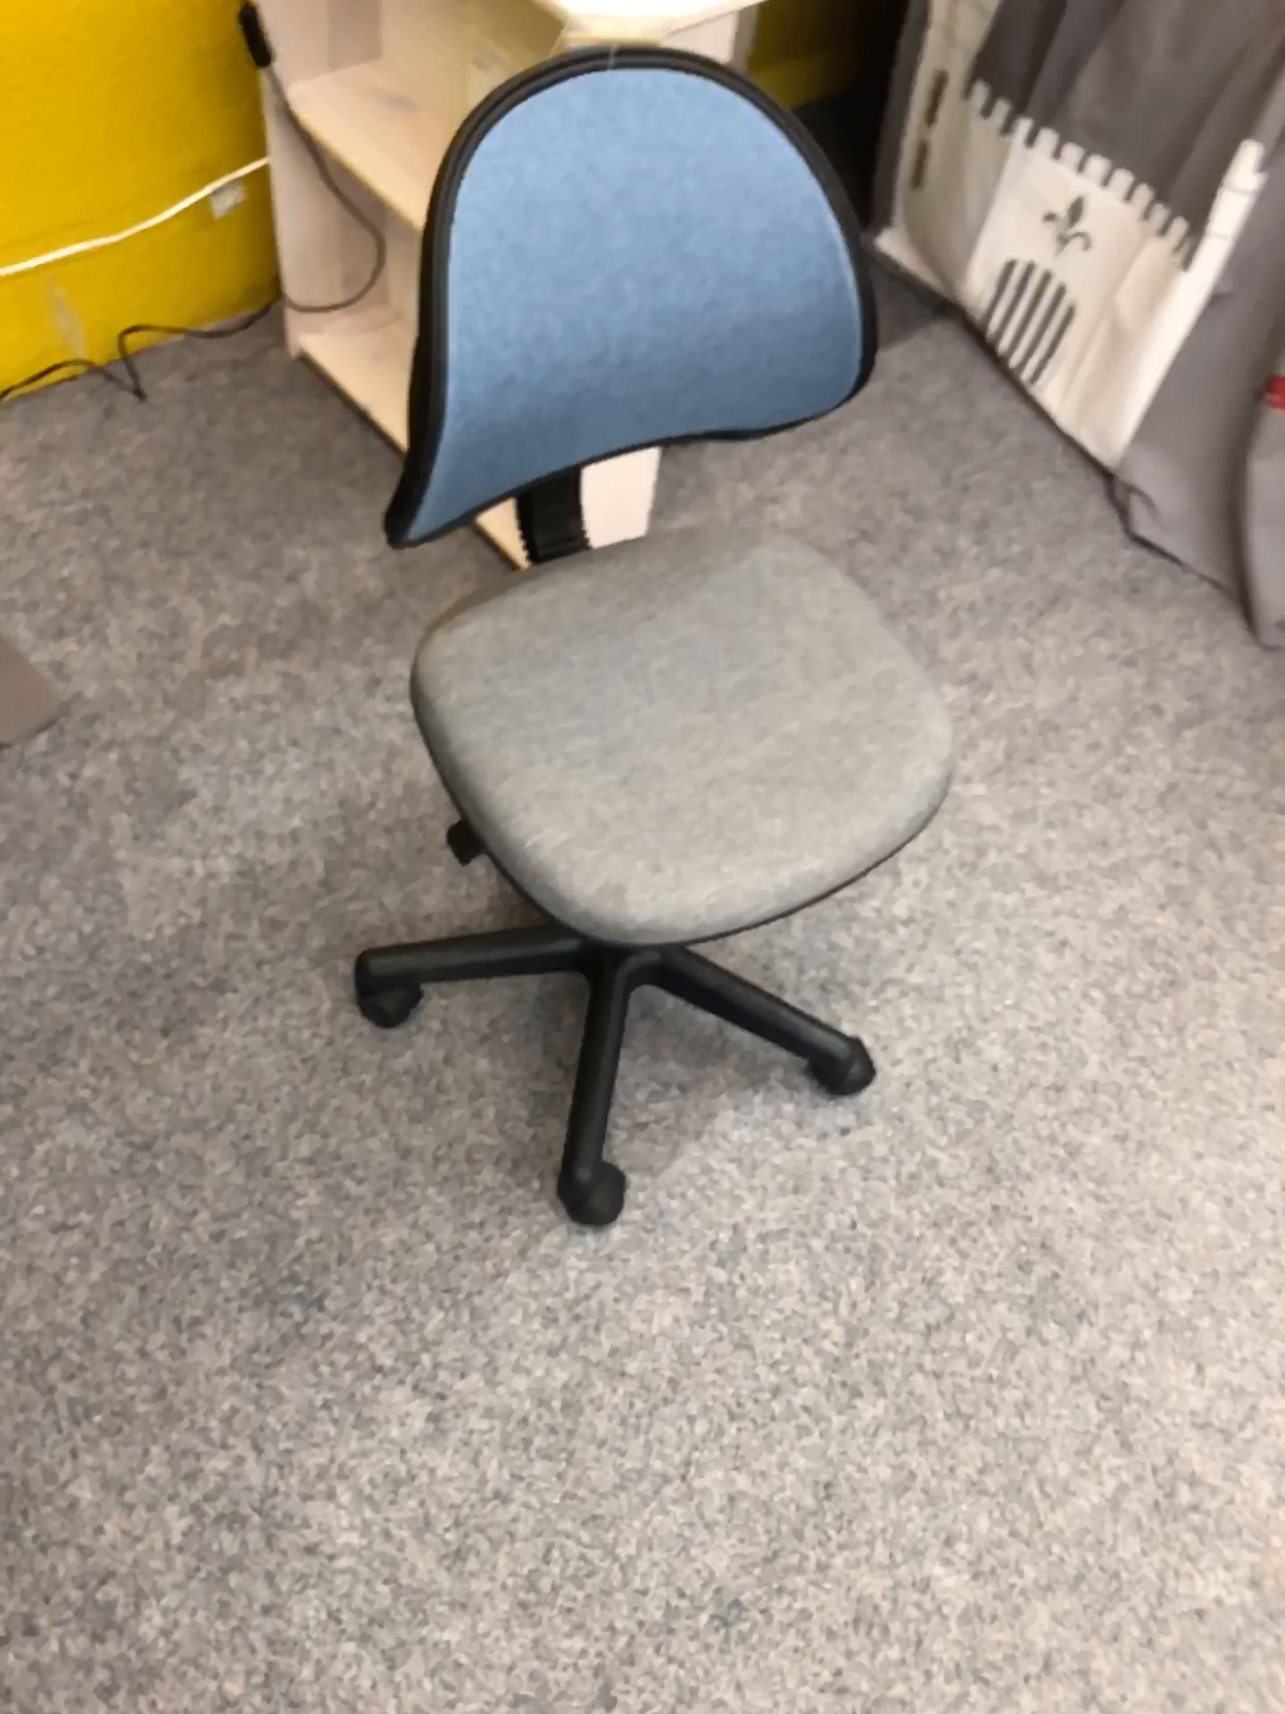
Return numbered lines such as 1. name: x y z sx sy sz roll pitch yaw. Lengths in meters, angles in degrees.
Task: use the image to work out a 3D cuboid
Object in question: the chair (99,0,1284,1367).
1. chair: 0.067 -0.119 1.067 0.603 0.746 0.560 -27 65 -24
